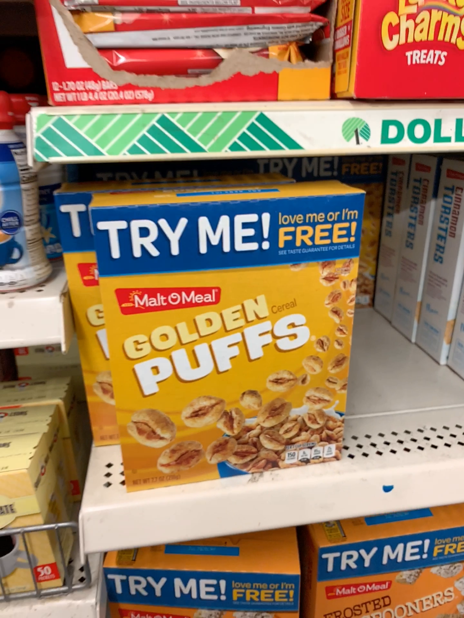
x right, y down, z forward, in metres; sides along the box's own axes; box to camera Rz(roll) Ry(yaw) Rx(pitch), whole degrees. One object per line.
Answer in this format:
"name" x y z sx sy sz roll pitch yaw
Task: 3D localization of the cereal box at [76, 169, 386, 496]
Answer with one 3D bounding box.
"cereal box" 0.001 0.017 0.360 0.190 0.219 0.060 -6 23 -10
